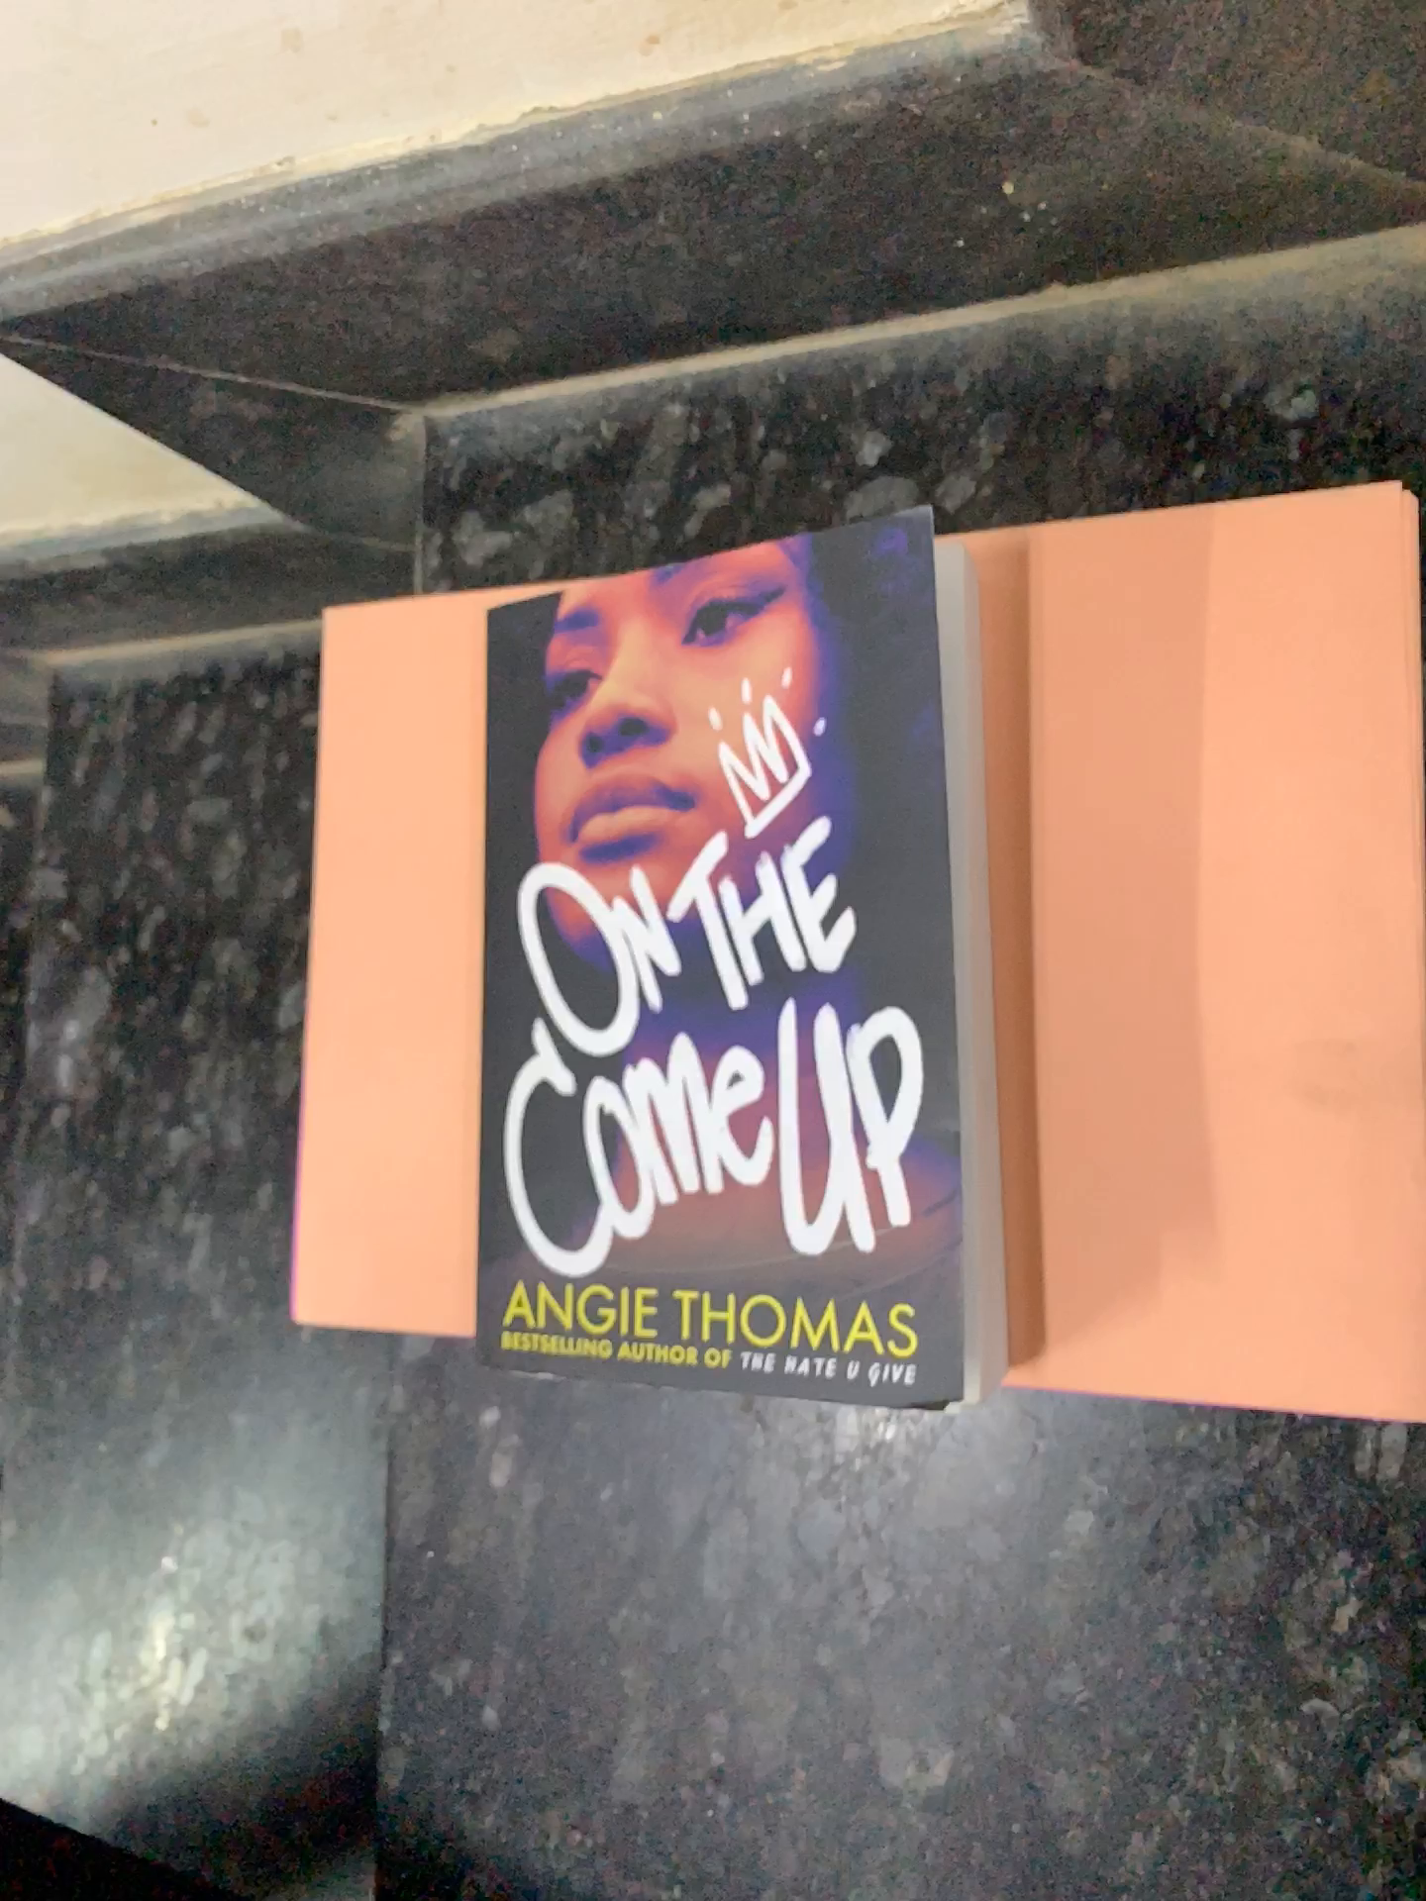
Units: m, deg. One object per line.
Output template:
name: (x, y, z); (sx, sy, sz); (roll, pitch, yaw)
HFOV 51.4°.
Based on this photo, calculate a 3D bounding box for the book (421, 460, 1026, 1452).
book: (0.000, 0.003, 0.343); (0.130, 0.040, 0.200); (-4, 82, 25)
